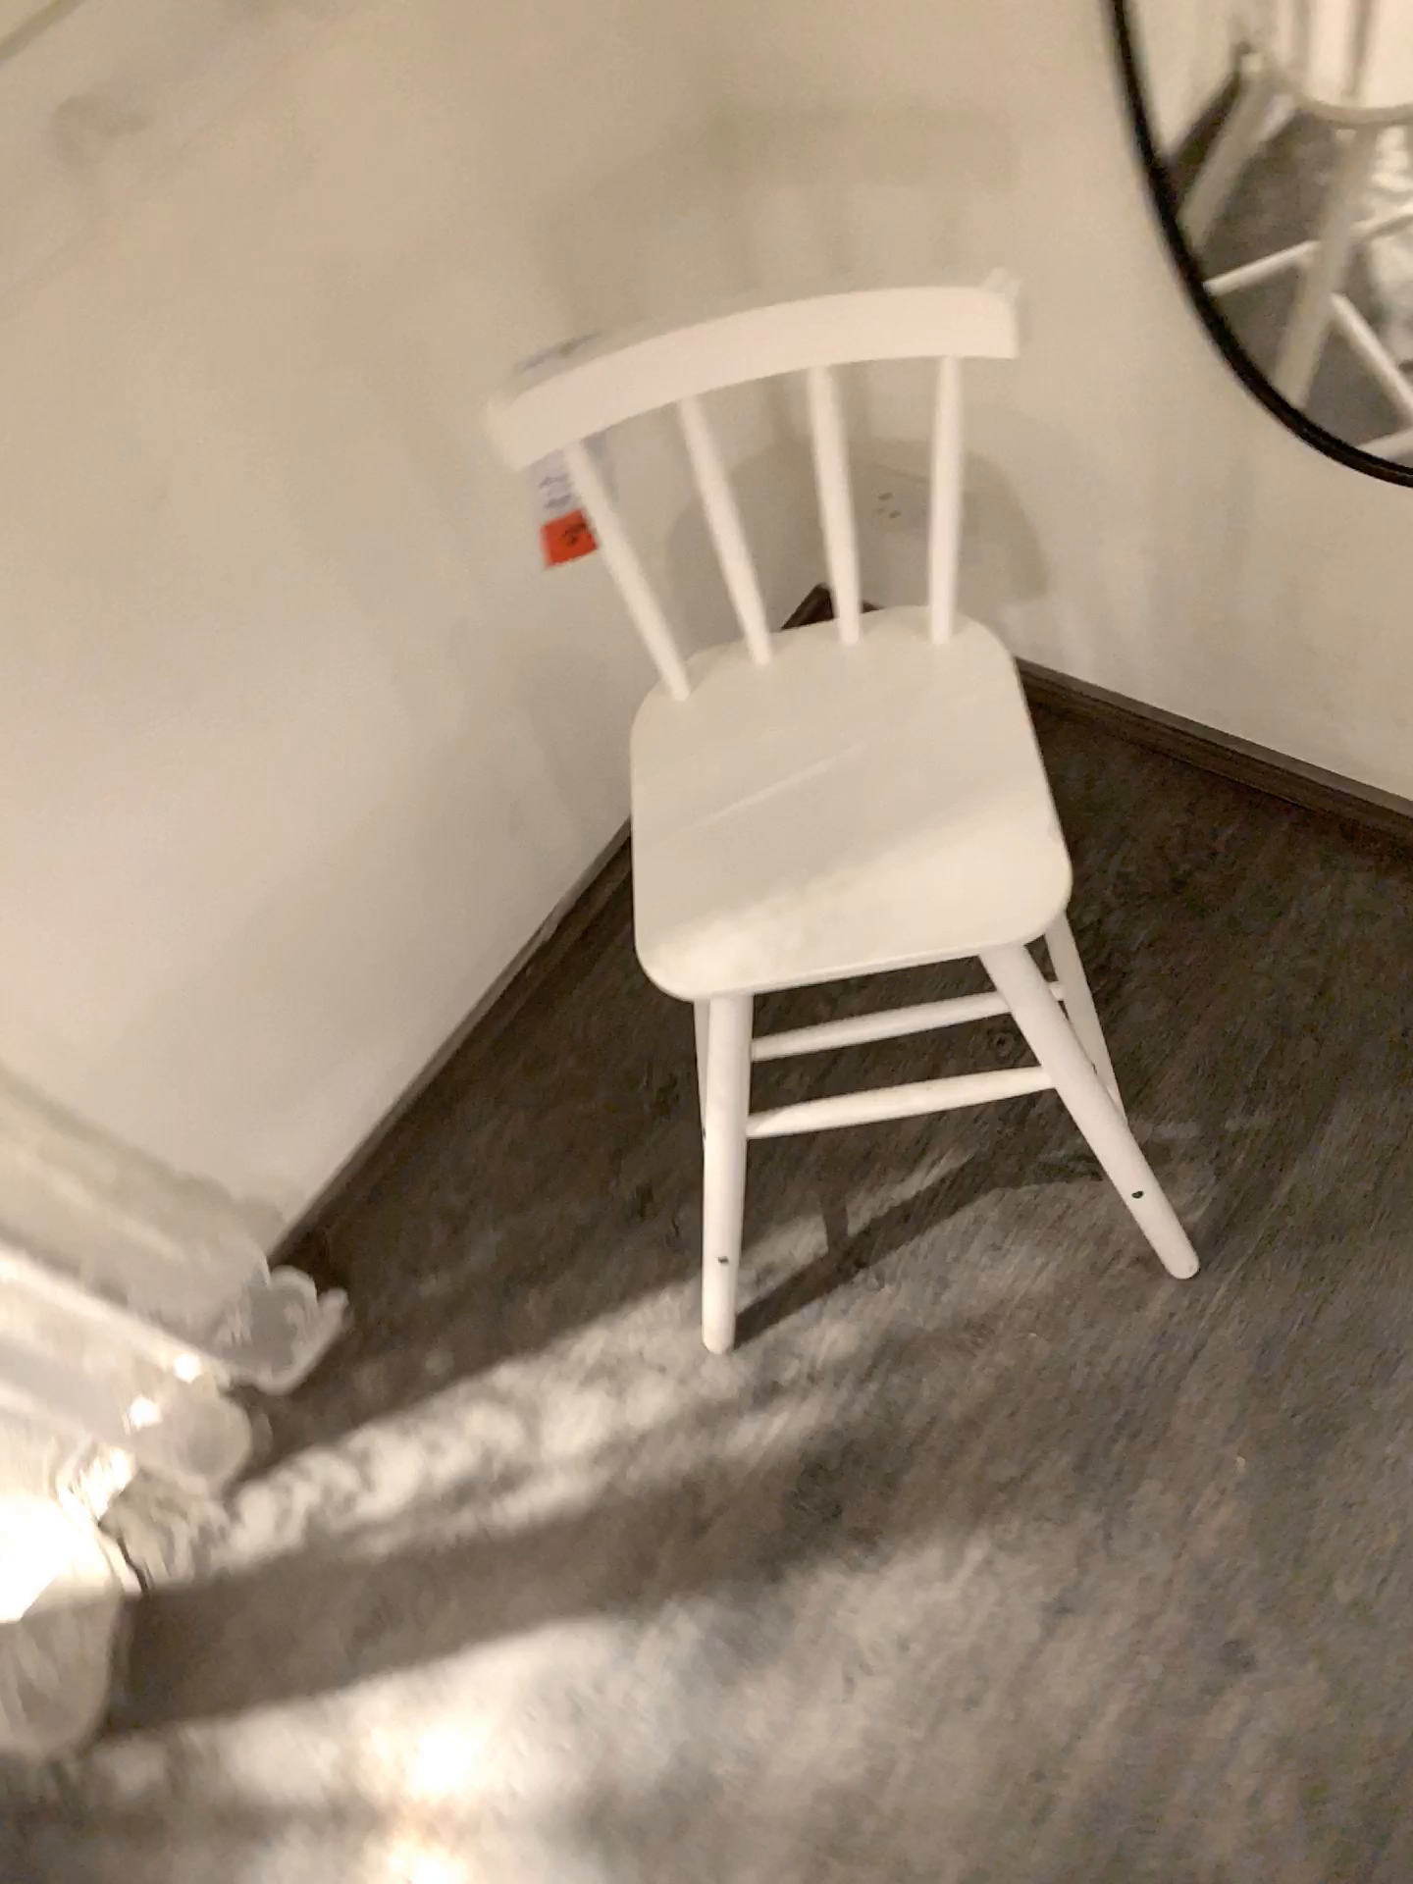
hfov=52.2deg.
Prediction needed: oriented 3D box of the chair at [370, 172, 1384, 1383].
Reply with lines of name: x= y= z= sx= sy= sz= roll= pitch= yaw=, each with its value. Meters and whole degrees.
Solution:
chair: x=0.110 y=-0.045 z=1.035 sx=0.450 sy=0.658 sz=0.481 roll=-12 pitch=57 yaw=7
